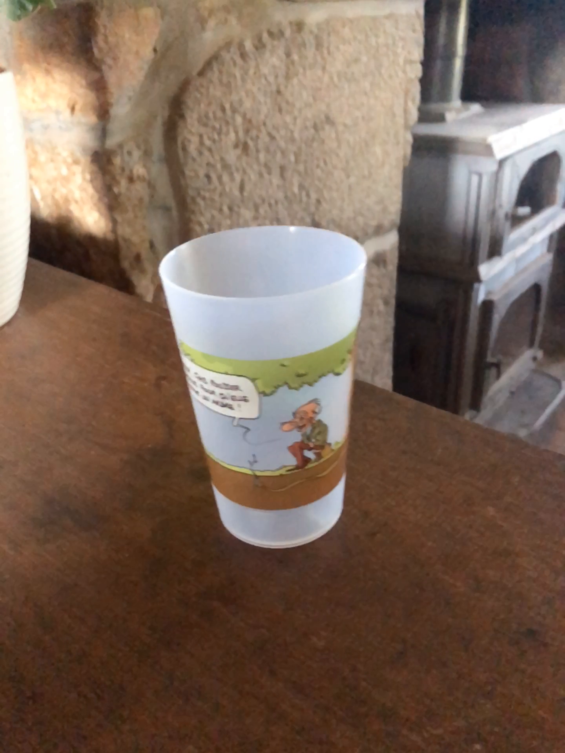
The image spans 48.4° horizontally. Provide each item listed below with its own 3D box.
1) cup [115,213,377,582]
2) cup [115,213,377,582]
[{"bbox_3d":[-0.011,0.007,0.256,0.080,0.119,0.080,-2,30,1],"label":"cup"},{"bbox_3d":[-0.011,0.007,0.256,0.080,0.119,0.080,-2,30,1],"label":"cup"}]
